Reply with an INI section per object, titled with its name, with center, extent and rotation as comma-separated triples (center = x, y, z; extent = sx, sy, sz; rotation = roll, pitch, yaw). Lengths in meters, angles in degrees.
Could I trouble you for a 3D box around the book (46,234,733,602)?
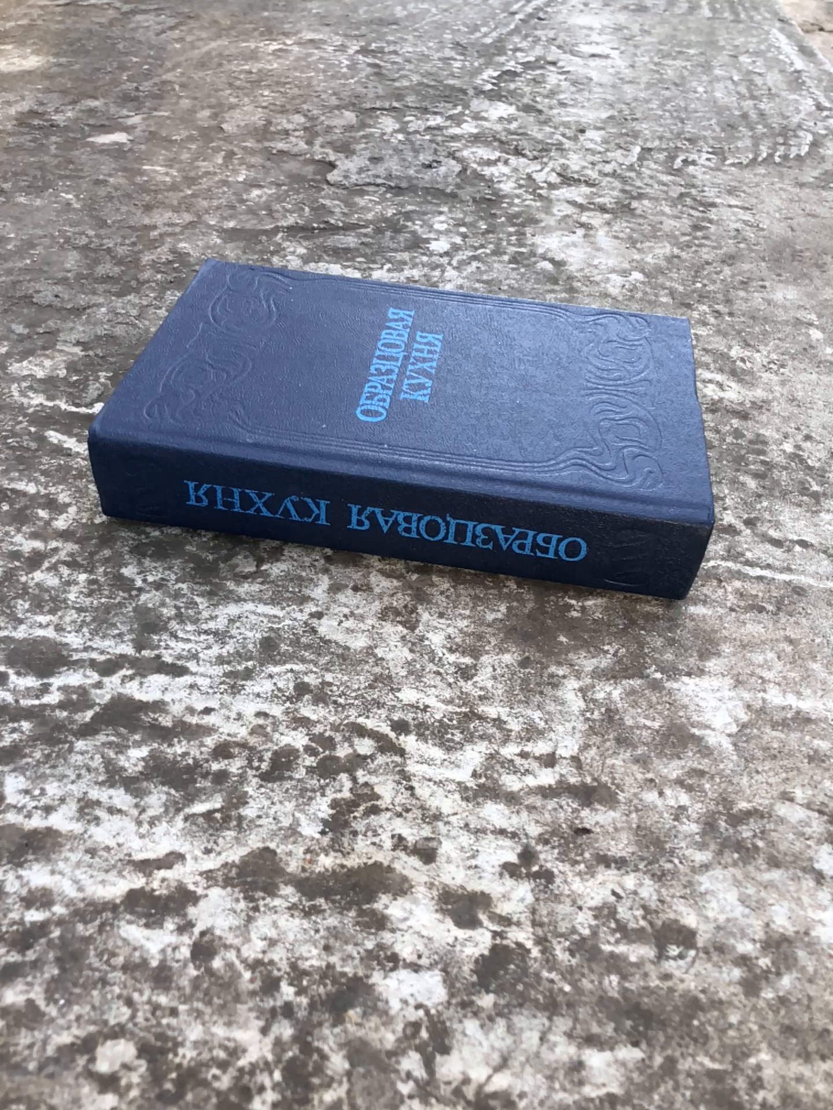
[book]
center = -0.002, -0.060, 0.344
extent = 0.210, 0.040, 0.141
rotation = 8, 42, 4
